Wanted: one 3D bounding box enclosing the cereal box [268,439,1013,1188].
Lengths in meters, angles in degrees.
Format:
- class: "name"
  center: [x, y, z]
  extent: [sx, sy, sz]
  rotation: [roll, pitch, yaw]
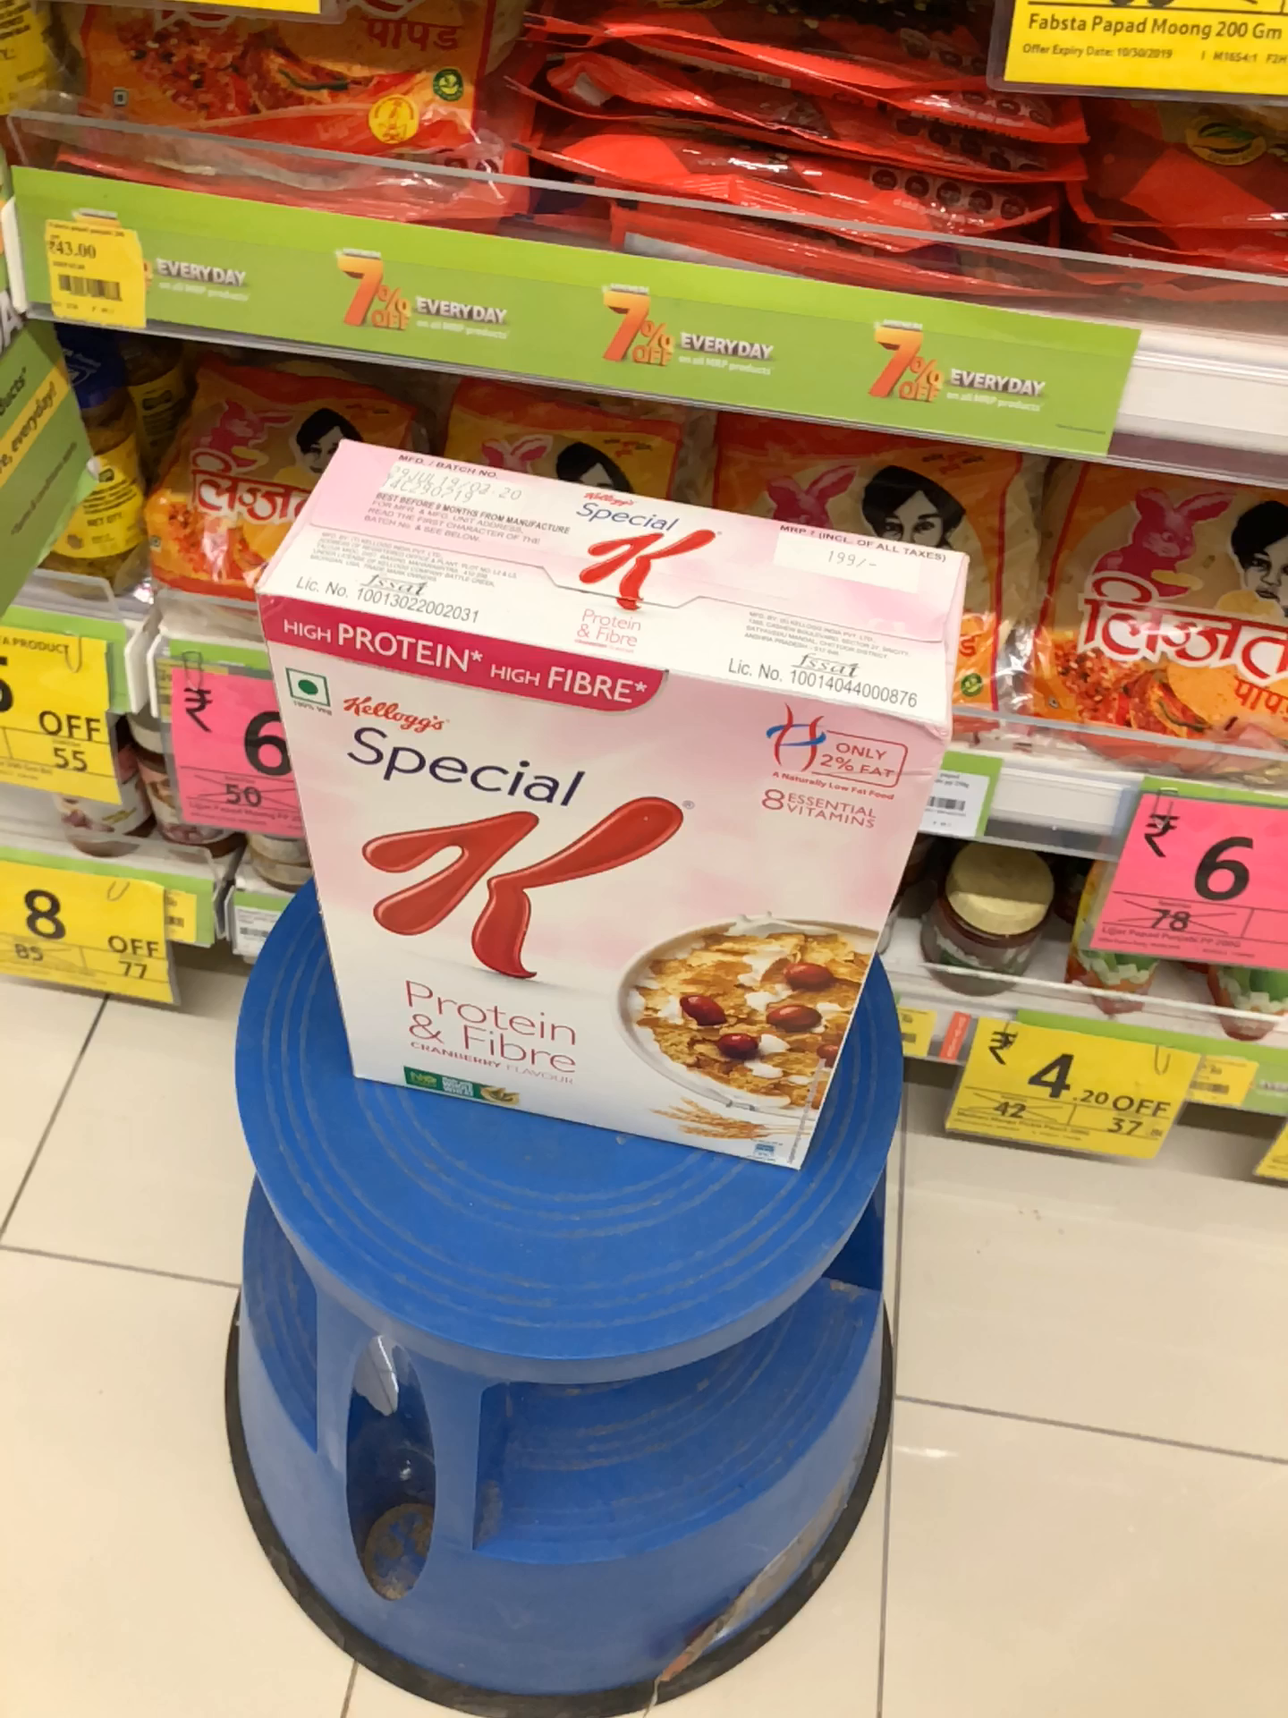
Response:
- class: "cereal box"
  center: [-0.003, 0.004, 0.463]
  extent: [0.180, 0.249, 0.070]
  rotation: [11, 53, 5]
